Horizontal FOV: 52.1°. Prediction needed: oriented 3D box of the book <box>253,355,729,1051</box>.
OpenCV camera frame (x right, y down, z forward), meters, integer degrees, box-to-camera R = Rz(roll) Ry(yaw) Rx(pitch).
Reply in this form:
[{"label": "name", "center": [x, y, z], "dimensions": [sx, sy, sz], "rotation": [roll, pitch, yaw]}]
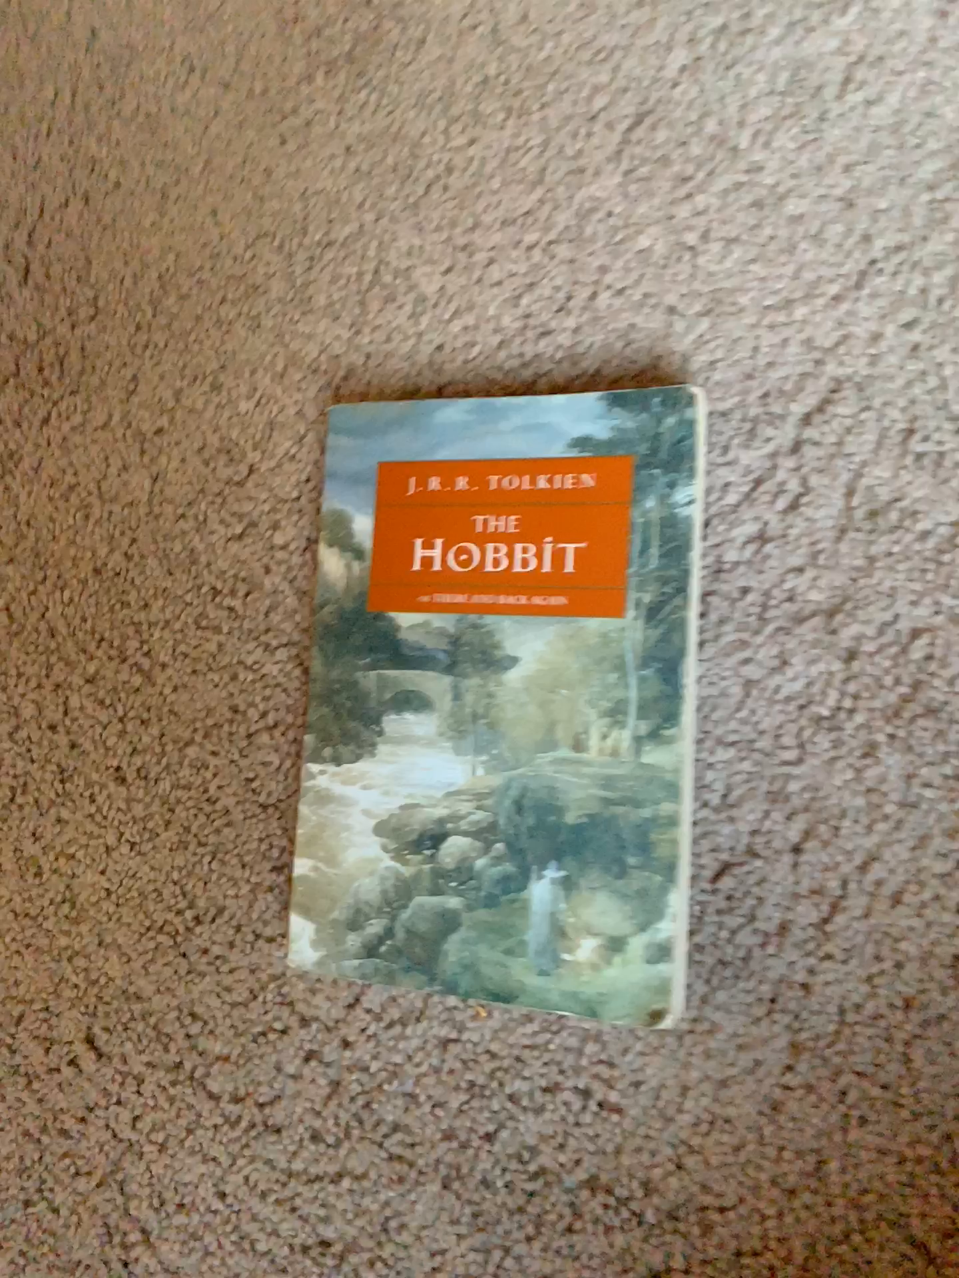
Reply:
[{"label": "book", "center": [0.006, 0.015, 0.346], "dimensions": [0.150, 0.030, 0.220], "rotation": [1, 79, 19]}]
